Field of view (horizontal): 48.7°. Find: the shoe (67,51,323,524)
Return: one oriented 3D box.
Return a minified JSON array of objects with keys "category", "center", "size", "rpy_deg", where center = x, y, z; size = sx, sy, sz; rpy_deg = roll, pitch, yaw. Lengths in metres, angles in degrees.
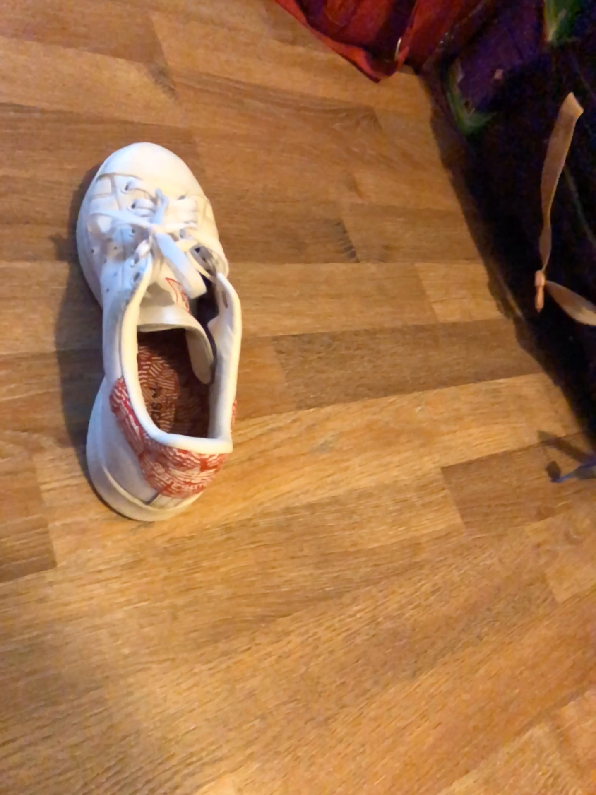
[{"category":"shoe","center":[-0.073,-0.062,0.400],"size":[0.100,0.109,0.251],"rpy_deg":[8,61,-30]}]
